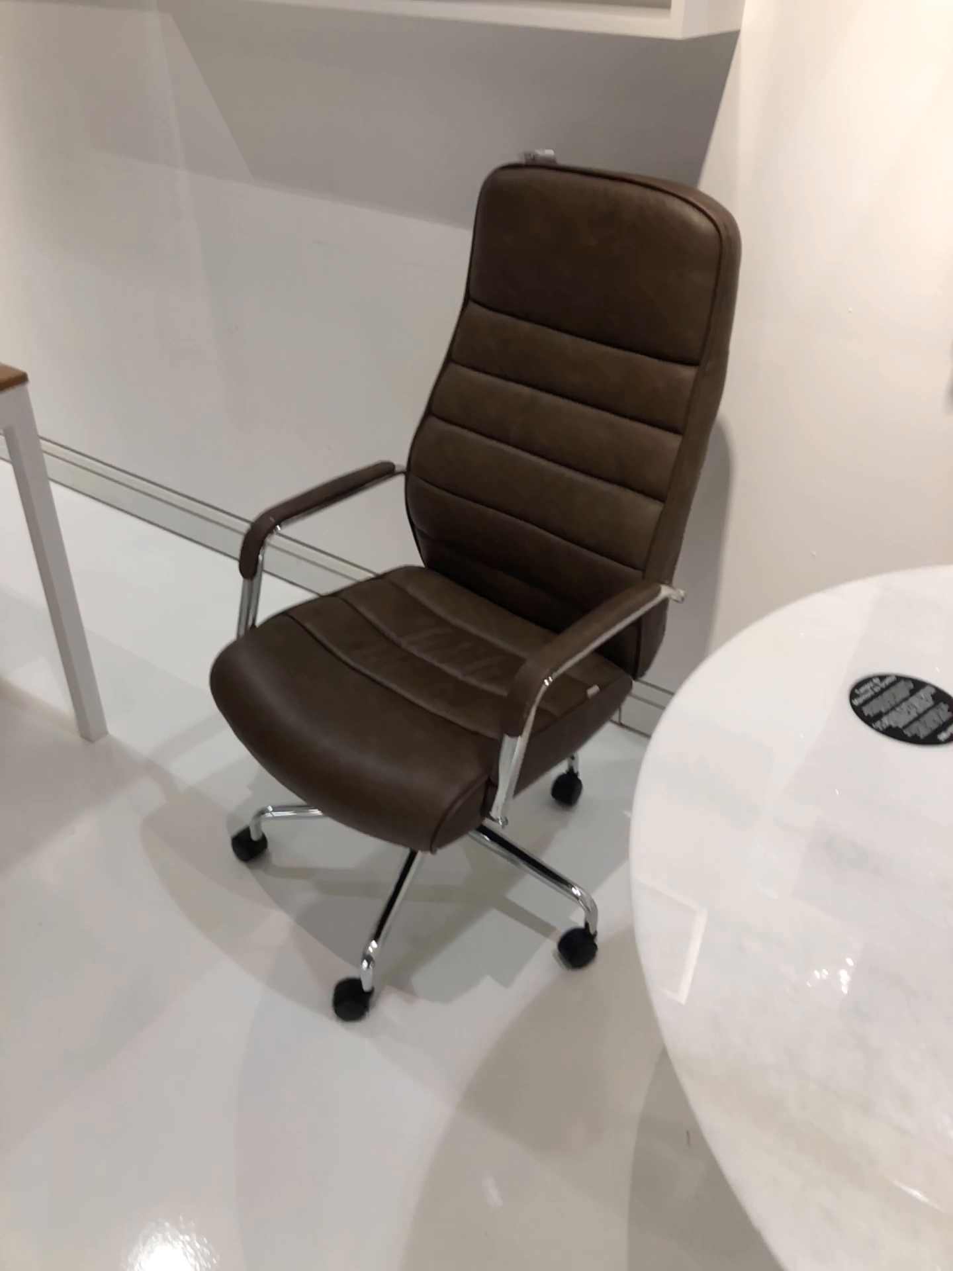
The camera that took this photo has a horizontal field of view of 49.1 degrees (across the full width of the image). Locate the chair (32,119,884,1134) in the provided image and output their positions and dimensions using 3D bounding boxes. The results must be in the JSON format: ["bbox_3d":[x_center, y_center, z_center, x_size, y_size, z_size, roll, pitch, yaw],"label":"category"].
[{"bbox_3d":[-0.020,-0.067,1.610,0.703,1.170,0.784,29,43,34],"label":"chair"}]
